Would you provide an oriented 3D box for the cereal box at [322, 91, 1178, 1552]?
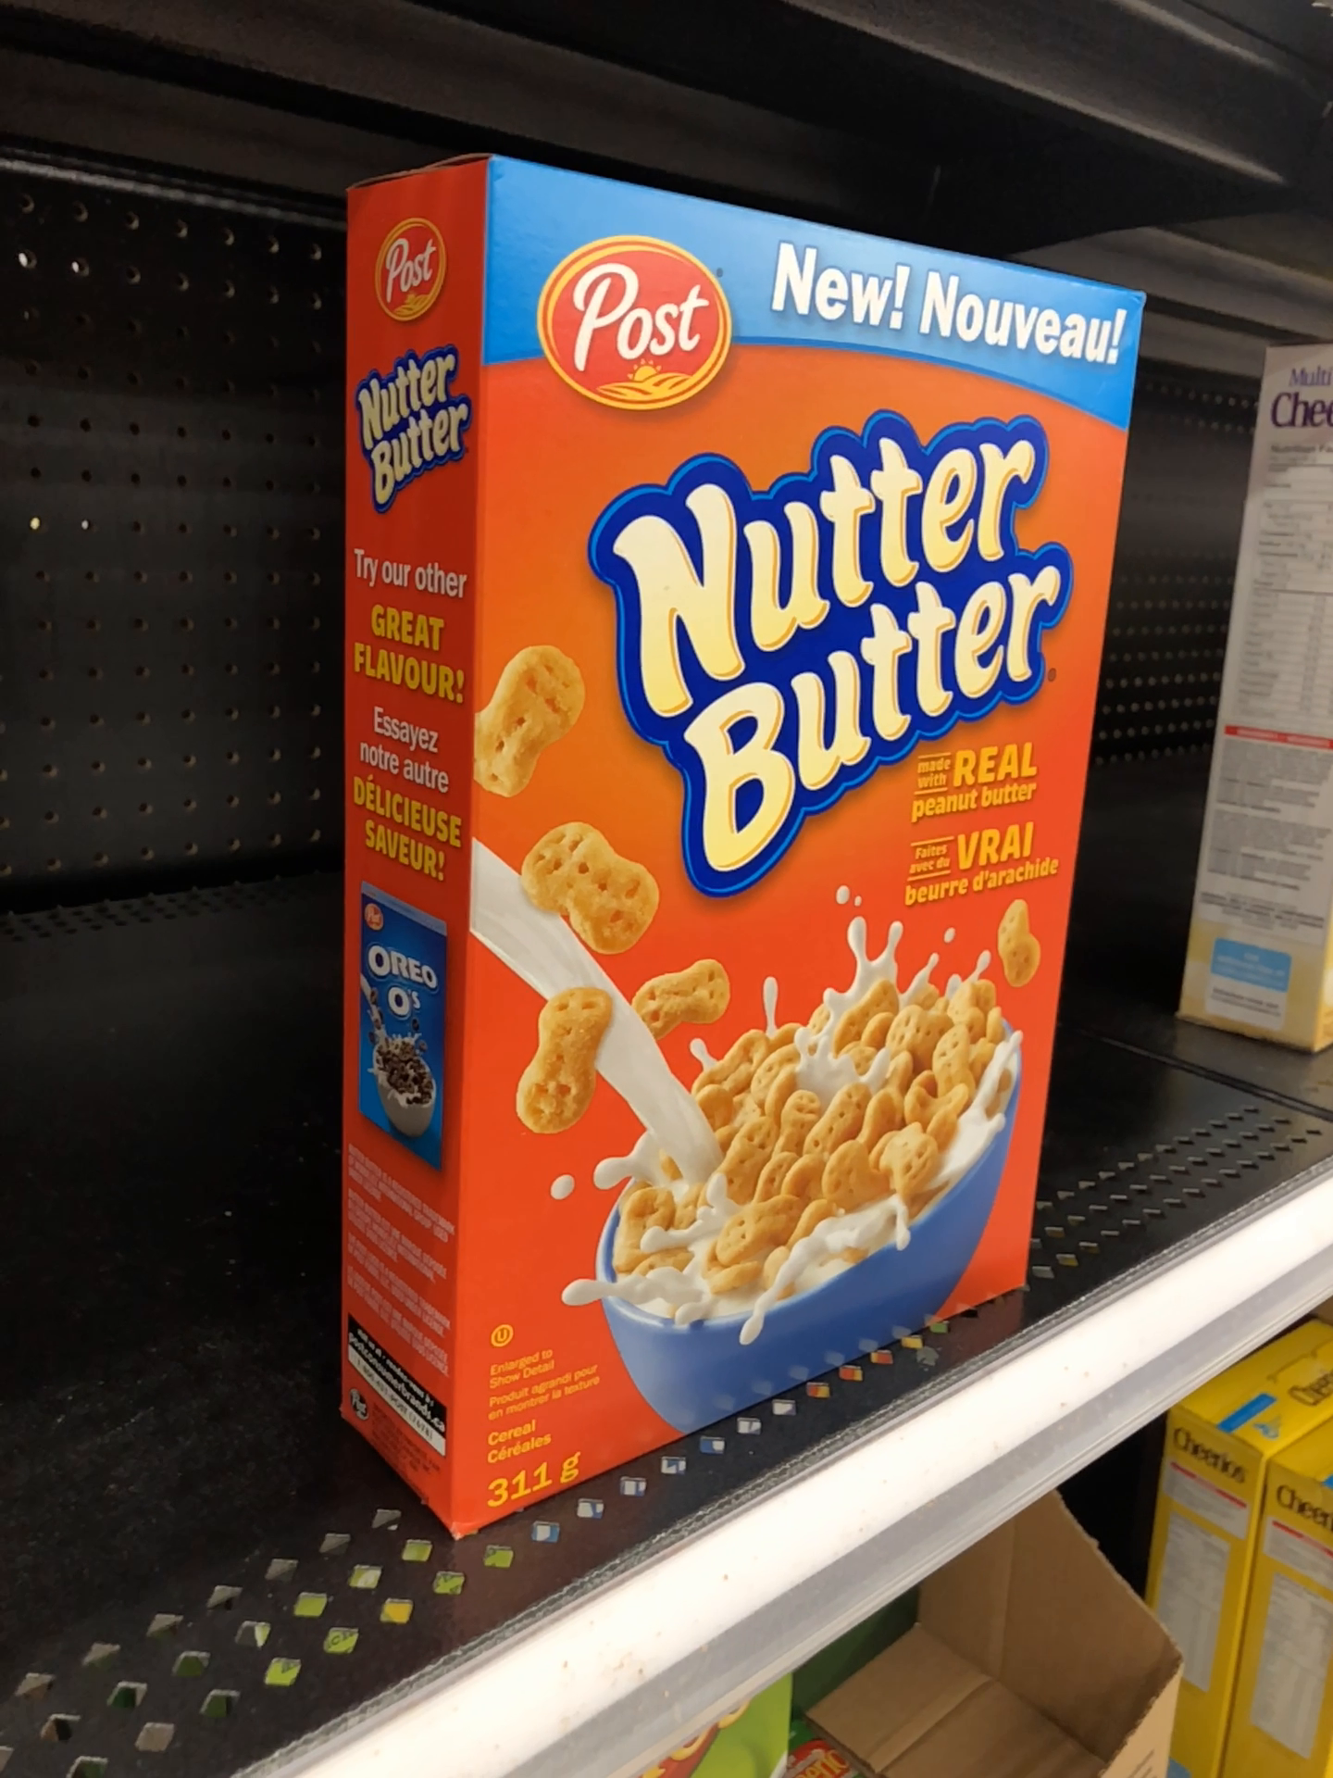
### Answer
[{"bbox_3d":[0.023,-0.015,0.360,0.200,0.279,0.060,-8,18,-38],"label":"cereal box"}]
